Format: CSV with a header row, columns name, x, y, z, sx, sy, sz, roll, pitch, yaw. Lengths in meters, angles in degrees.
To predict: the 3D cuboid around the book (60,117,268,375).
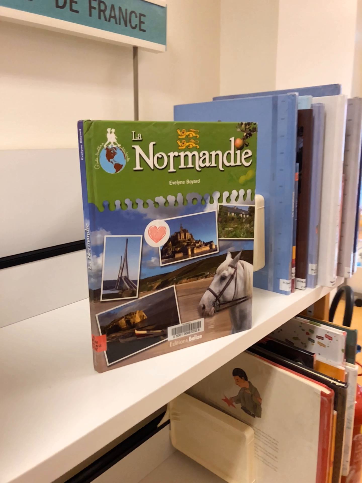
name,x,y,z,sx,sy,sz,roll,pitch,yaw
book,-0.013,-0.007,0.452,0.208,0.249,0.077,-7,14,-24
